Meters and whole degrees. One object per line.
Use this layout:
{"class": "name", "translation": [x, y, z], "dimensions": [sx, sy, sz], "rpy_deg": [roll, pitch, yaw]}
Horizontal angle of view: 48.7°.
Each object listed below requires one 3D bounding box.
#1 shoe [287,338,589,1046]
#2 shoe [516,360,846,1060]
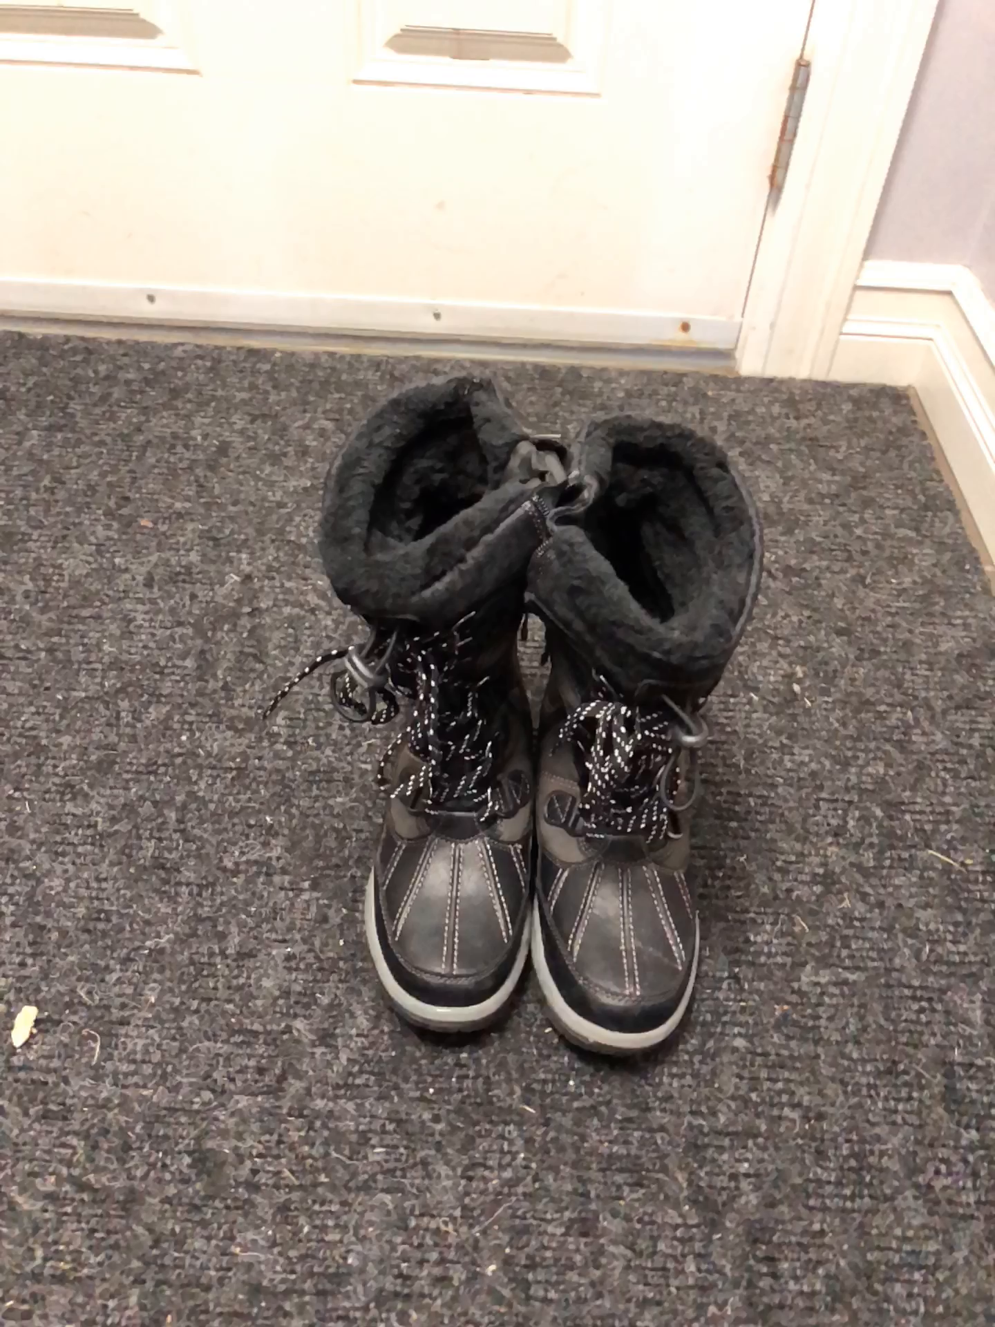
{"class": "shoe", "translation": [-0.025, 0.017, 0.588], "dimensions": [0.110, 0.269, 0.261], "rpy_deg": [2, 45, -1]}
{"class": "shoe", "translation": [0.071, 0.027, 0.591], "dimensions": [0.100, 0.269, 0.261], "rpy_deg": [1, 45, -2]}
